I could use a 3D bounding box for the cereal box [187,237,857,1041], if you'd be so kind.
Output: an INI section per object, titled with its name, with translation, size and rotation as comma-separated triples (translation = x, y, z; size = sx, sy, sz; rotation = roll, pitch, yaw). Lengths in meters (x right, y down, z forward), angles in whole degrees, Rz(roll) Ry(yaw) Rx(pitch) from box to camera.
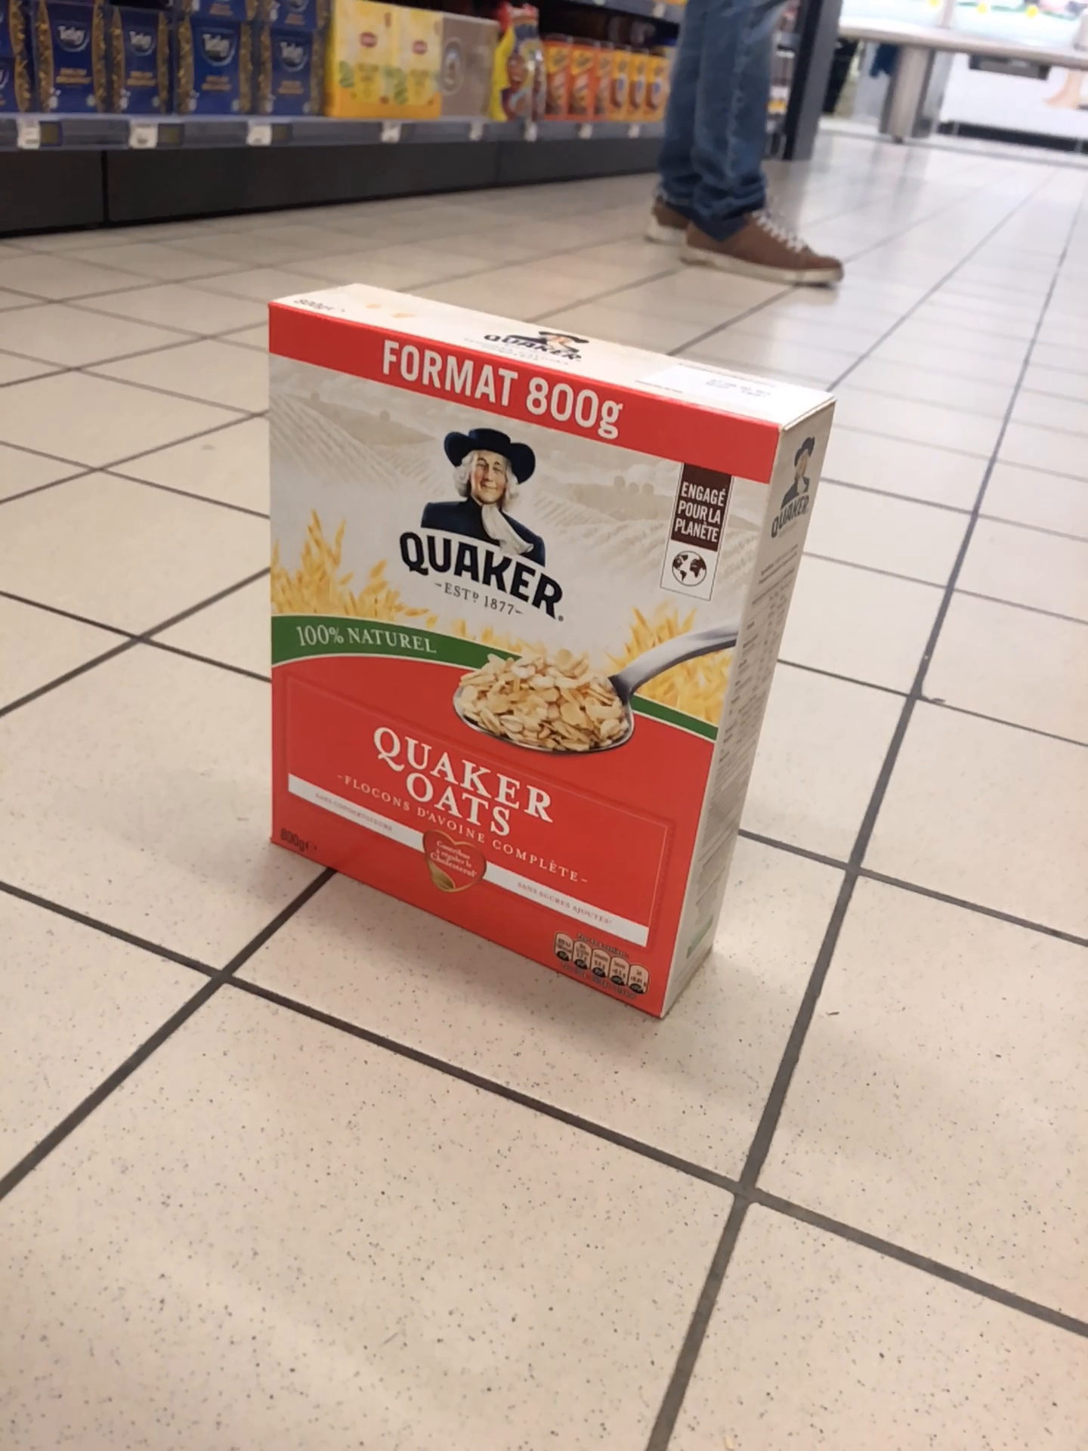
[cereal box]
translation = -0.024, -0.034, 0.431
size = 0.210, 0.229, 0.060
rotation = 20, 31, 22
